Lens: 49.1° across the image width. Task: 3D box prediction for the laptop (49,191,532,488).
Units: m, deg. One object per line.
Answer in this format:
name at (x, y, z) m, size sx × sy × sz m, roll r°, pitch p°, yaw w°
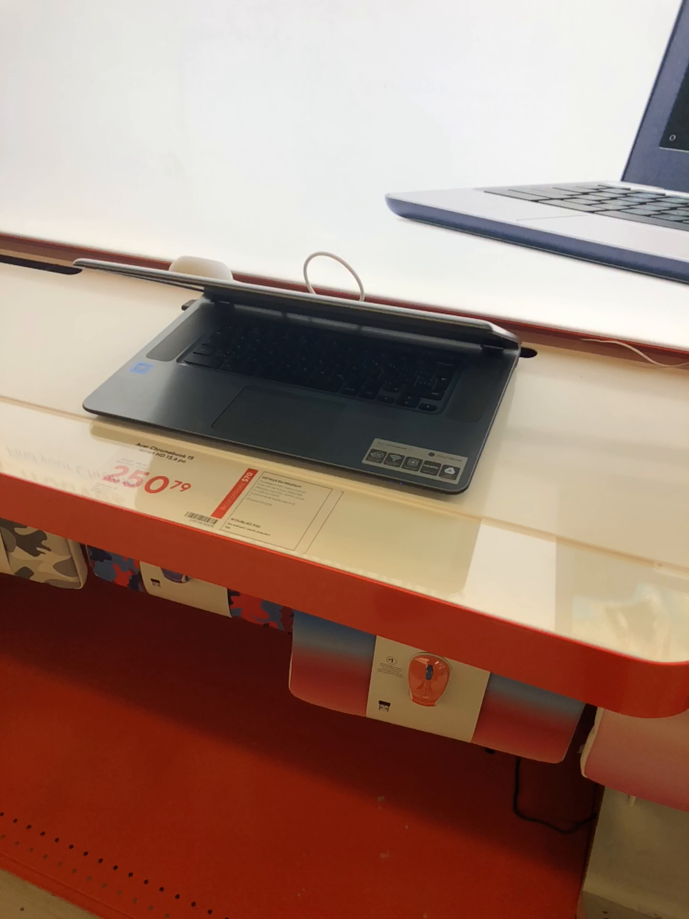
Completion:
laptop at (-0.036, -0.132, 0.707) m, size 0.363 × 0.122 × 0.238 m, roll 12°, pitch 40°, yaw 17°
